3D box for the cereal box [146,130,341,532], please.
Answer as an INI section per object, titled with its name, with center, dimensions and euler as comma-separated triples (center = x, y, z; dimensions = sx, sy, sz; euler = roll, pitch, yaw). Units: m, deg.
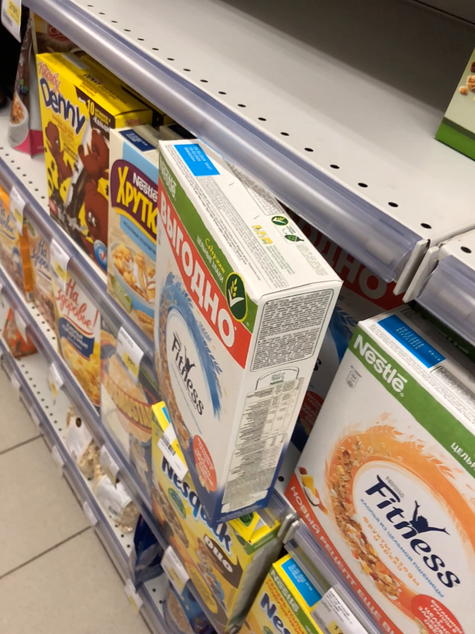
[cereal box]
center = -0.023, 0.021, 0.463
dimensions = 0.060, 0.288, 0.201
euler = -11, 47, -21
